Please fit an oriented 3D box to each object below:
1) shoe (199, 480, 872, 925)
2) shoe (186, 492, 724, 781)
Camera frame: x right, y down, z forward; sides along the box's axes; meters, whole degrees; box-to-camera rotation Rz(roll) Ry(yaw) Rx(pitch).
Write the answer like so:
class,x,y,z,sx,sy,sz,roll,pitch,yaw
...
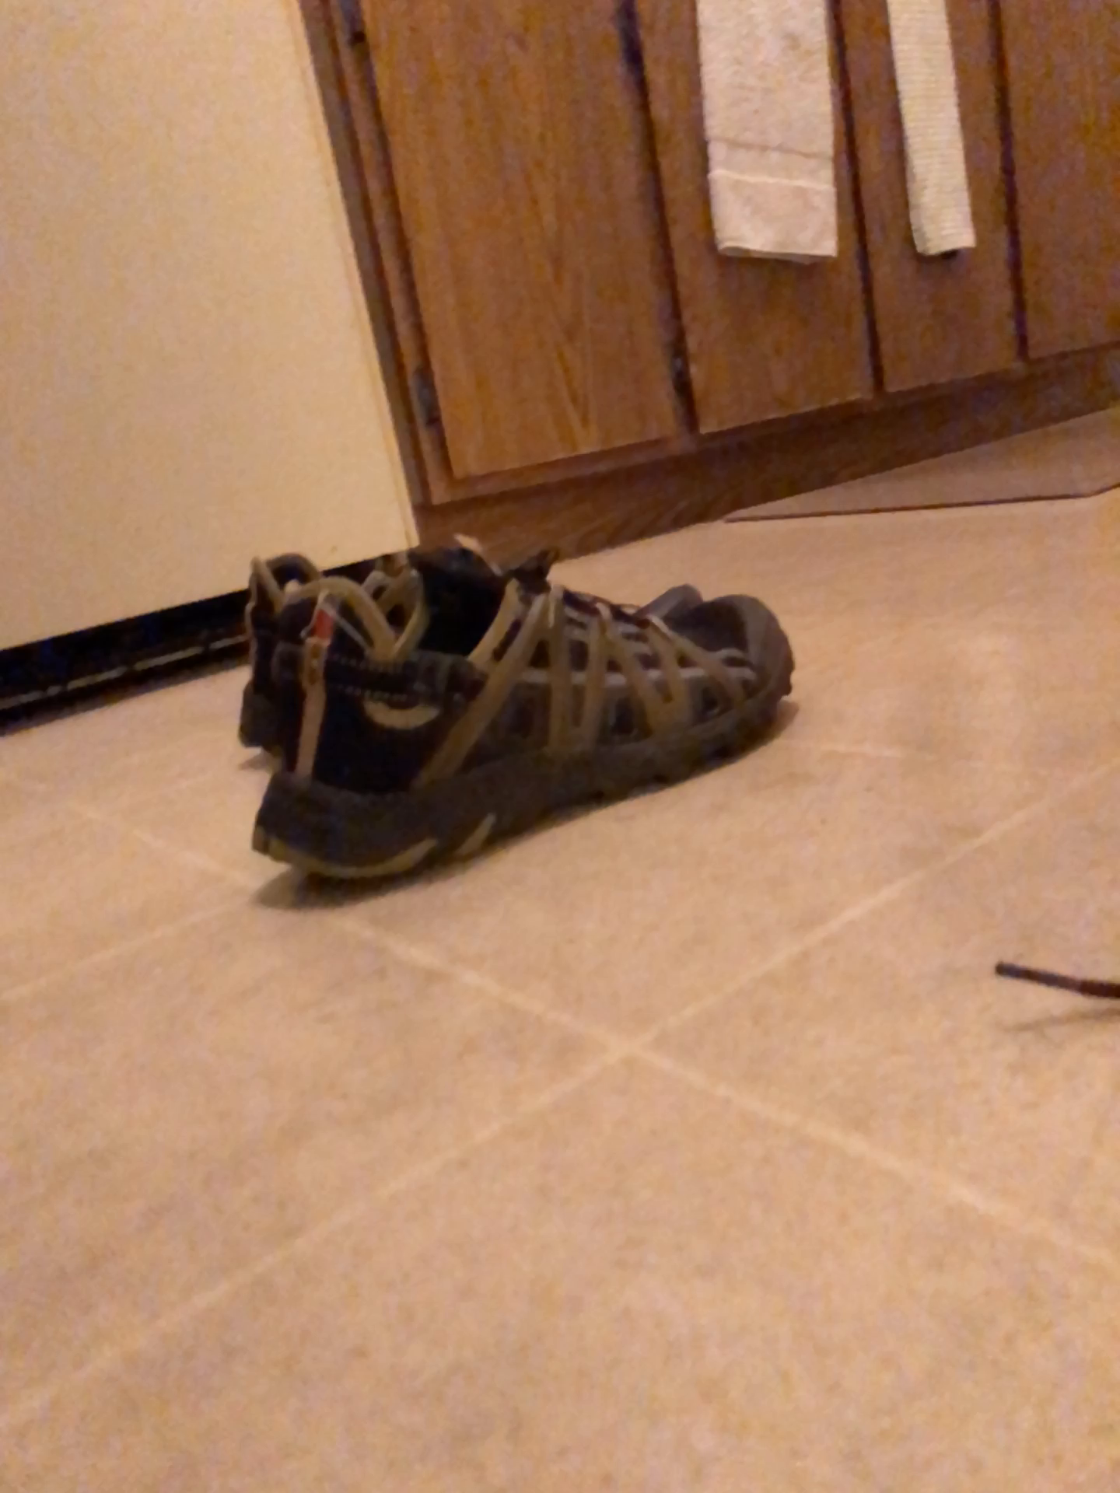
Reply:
class,x,y,z,sx,sy,sz,roll,pitch,yaw
shoe,0.004,-0.036,0.559,0.286,0.112,0.109,-22,18,-36
shoe,-0.055,-0.064,0.712,0.279,0.109,0.100,-8,14,13
